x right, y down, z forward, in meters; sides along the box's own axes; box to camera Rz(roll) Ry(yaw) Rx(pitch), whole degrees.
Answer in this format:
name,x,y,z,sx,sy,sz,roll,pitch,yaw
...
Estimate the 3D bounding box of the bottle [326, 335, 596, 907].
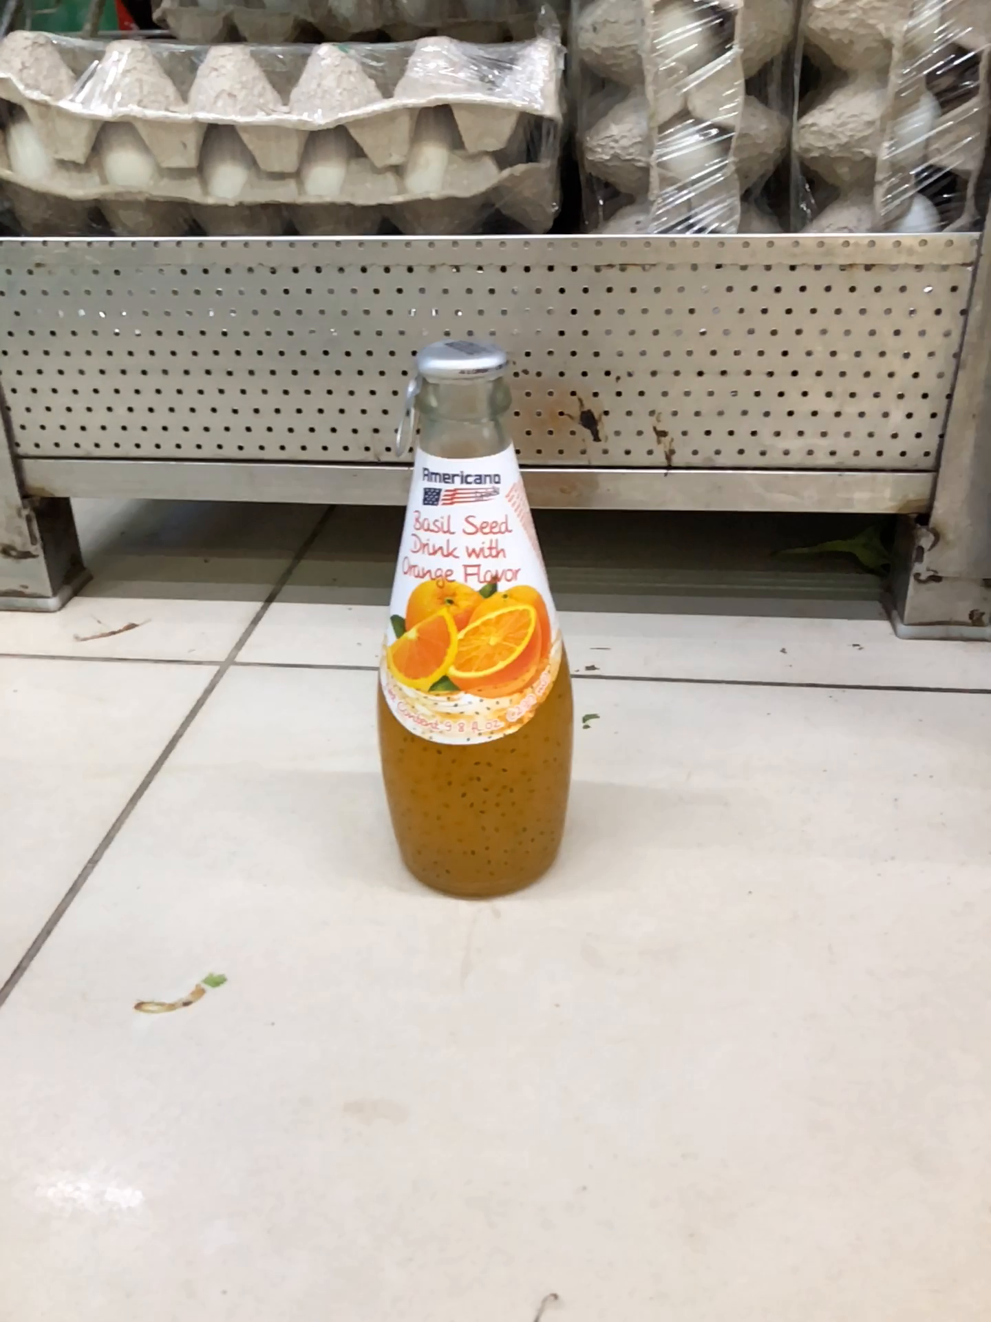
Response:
name,x,y,z,sx,sy,sz,roll,pitch,yaw
bottle,-0.005,-0.010,0.353,0.070,0.169,0.070,-1,28,1
